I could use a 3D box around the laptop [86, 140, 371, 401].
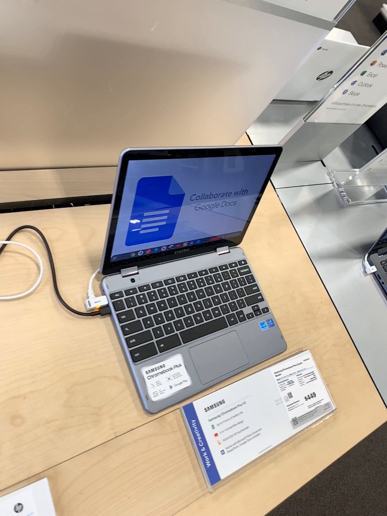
[{"bbox_3d":[0.043,0.005,0.573,0.275,0.183,0.275,-13,73,-36],"label":"laptop"}]
